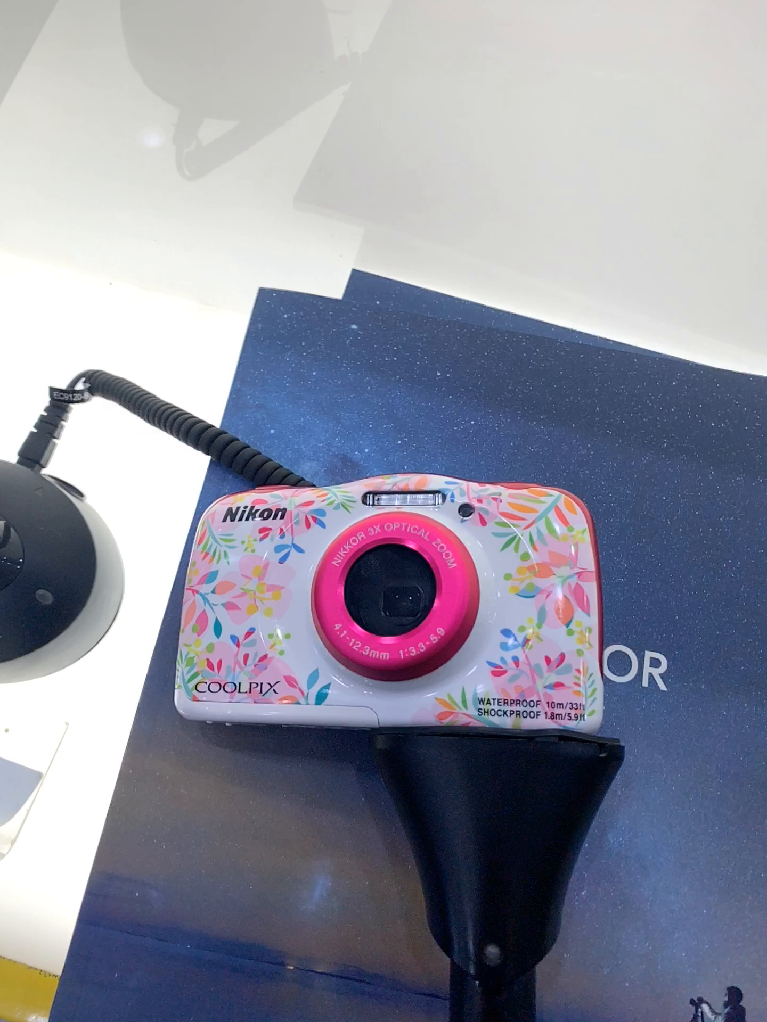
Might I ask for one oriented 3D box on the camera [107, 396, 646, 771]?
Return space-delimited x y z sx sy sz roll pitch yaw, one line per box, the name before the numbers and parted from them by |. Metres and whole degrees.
camera | -0.001 0.018 0.198 0.110 0.040 0.080 2 64 0
